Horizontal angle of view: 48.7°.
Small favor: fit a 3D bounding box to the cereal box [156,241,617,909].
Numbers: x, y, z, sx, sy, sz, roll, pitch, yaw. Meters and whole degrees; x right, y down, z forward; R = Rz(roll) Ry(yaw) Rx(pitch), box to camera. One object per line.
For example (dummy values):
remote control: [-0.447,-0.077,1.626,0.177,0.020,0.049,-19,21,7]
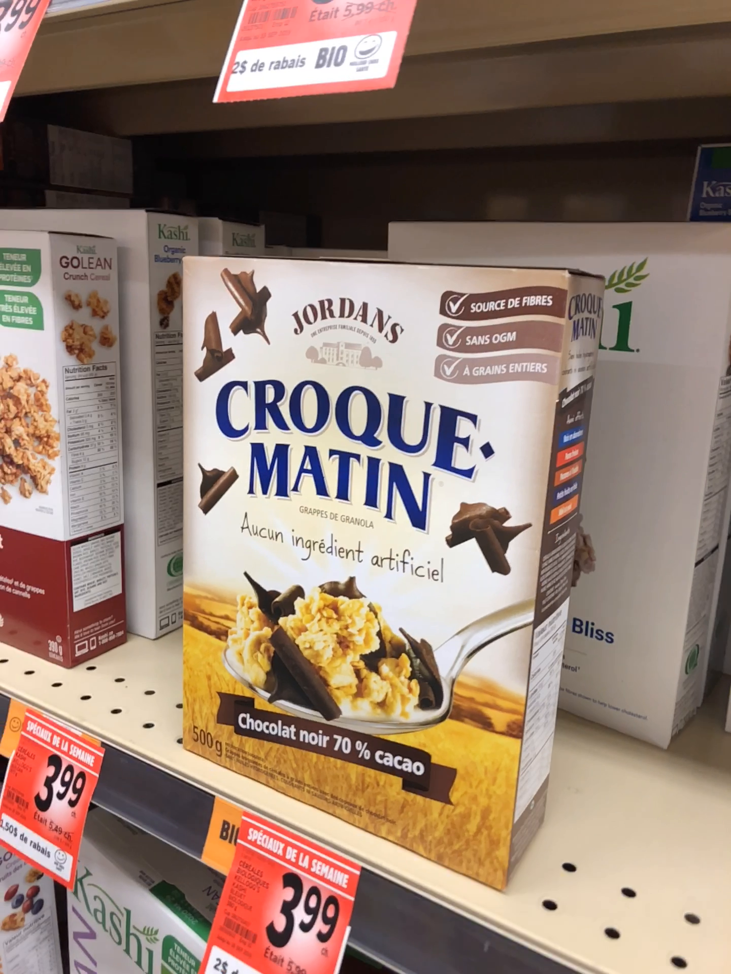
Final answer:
cereal box: [-0.006,0.024,0.359,0.190,0.249,0.050,11,15,30]
